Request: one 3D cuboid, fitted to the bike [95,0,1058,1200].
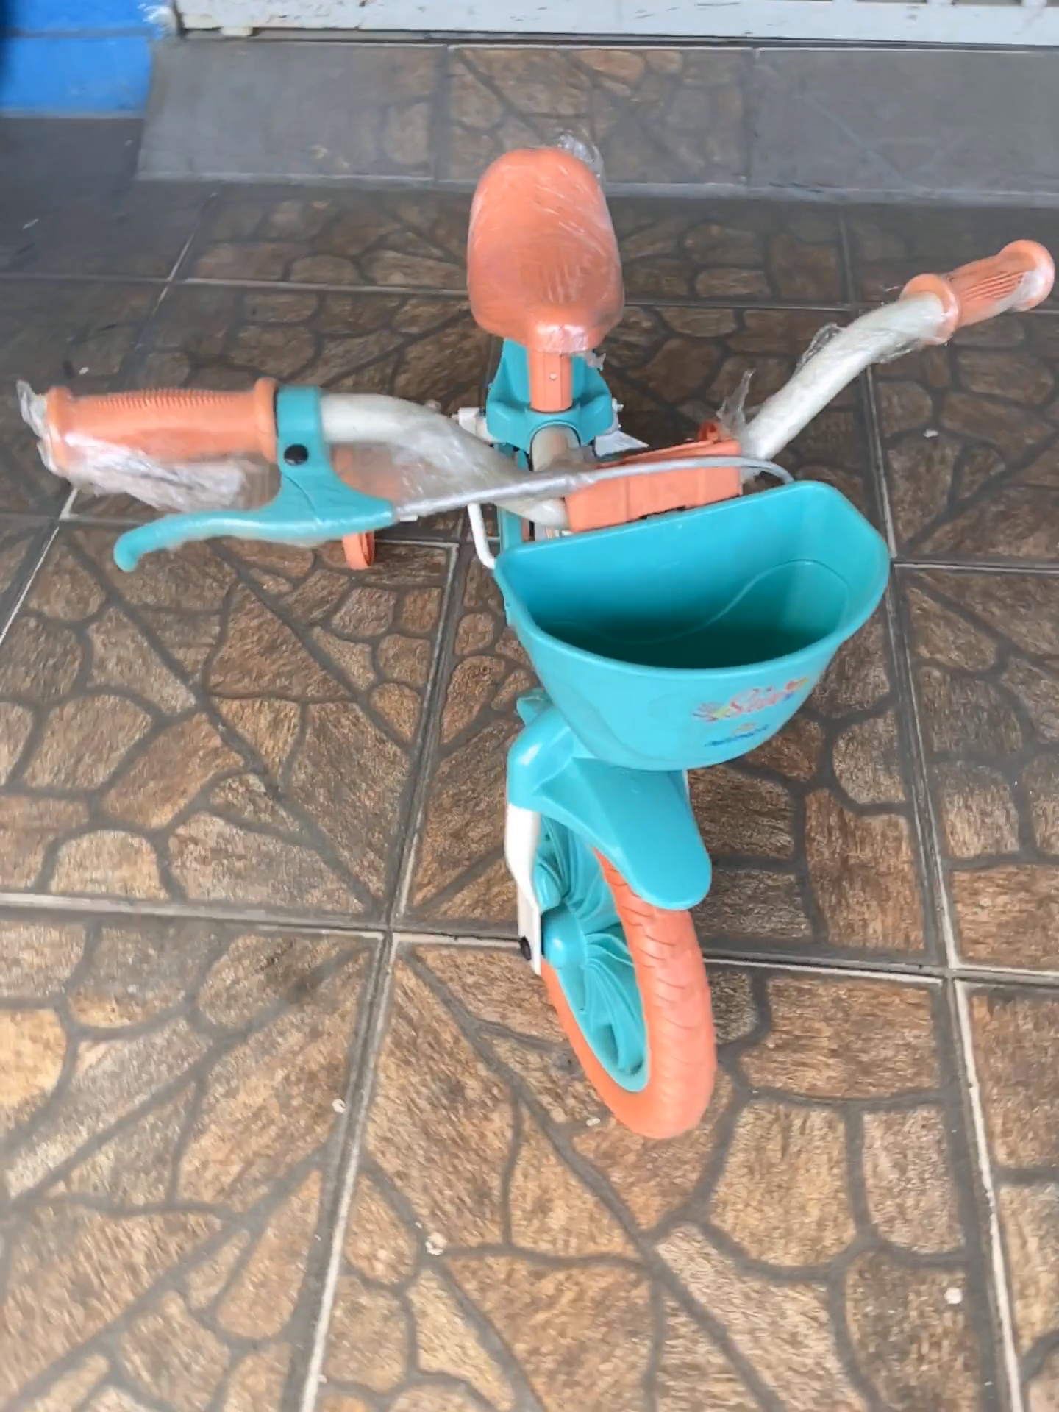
[{"bbox_3d":[0.061,-0.162,0.802,0.498,0.534,0.810,-8,51,-4],"label":"bike"}]
